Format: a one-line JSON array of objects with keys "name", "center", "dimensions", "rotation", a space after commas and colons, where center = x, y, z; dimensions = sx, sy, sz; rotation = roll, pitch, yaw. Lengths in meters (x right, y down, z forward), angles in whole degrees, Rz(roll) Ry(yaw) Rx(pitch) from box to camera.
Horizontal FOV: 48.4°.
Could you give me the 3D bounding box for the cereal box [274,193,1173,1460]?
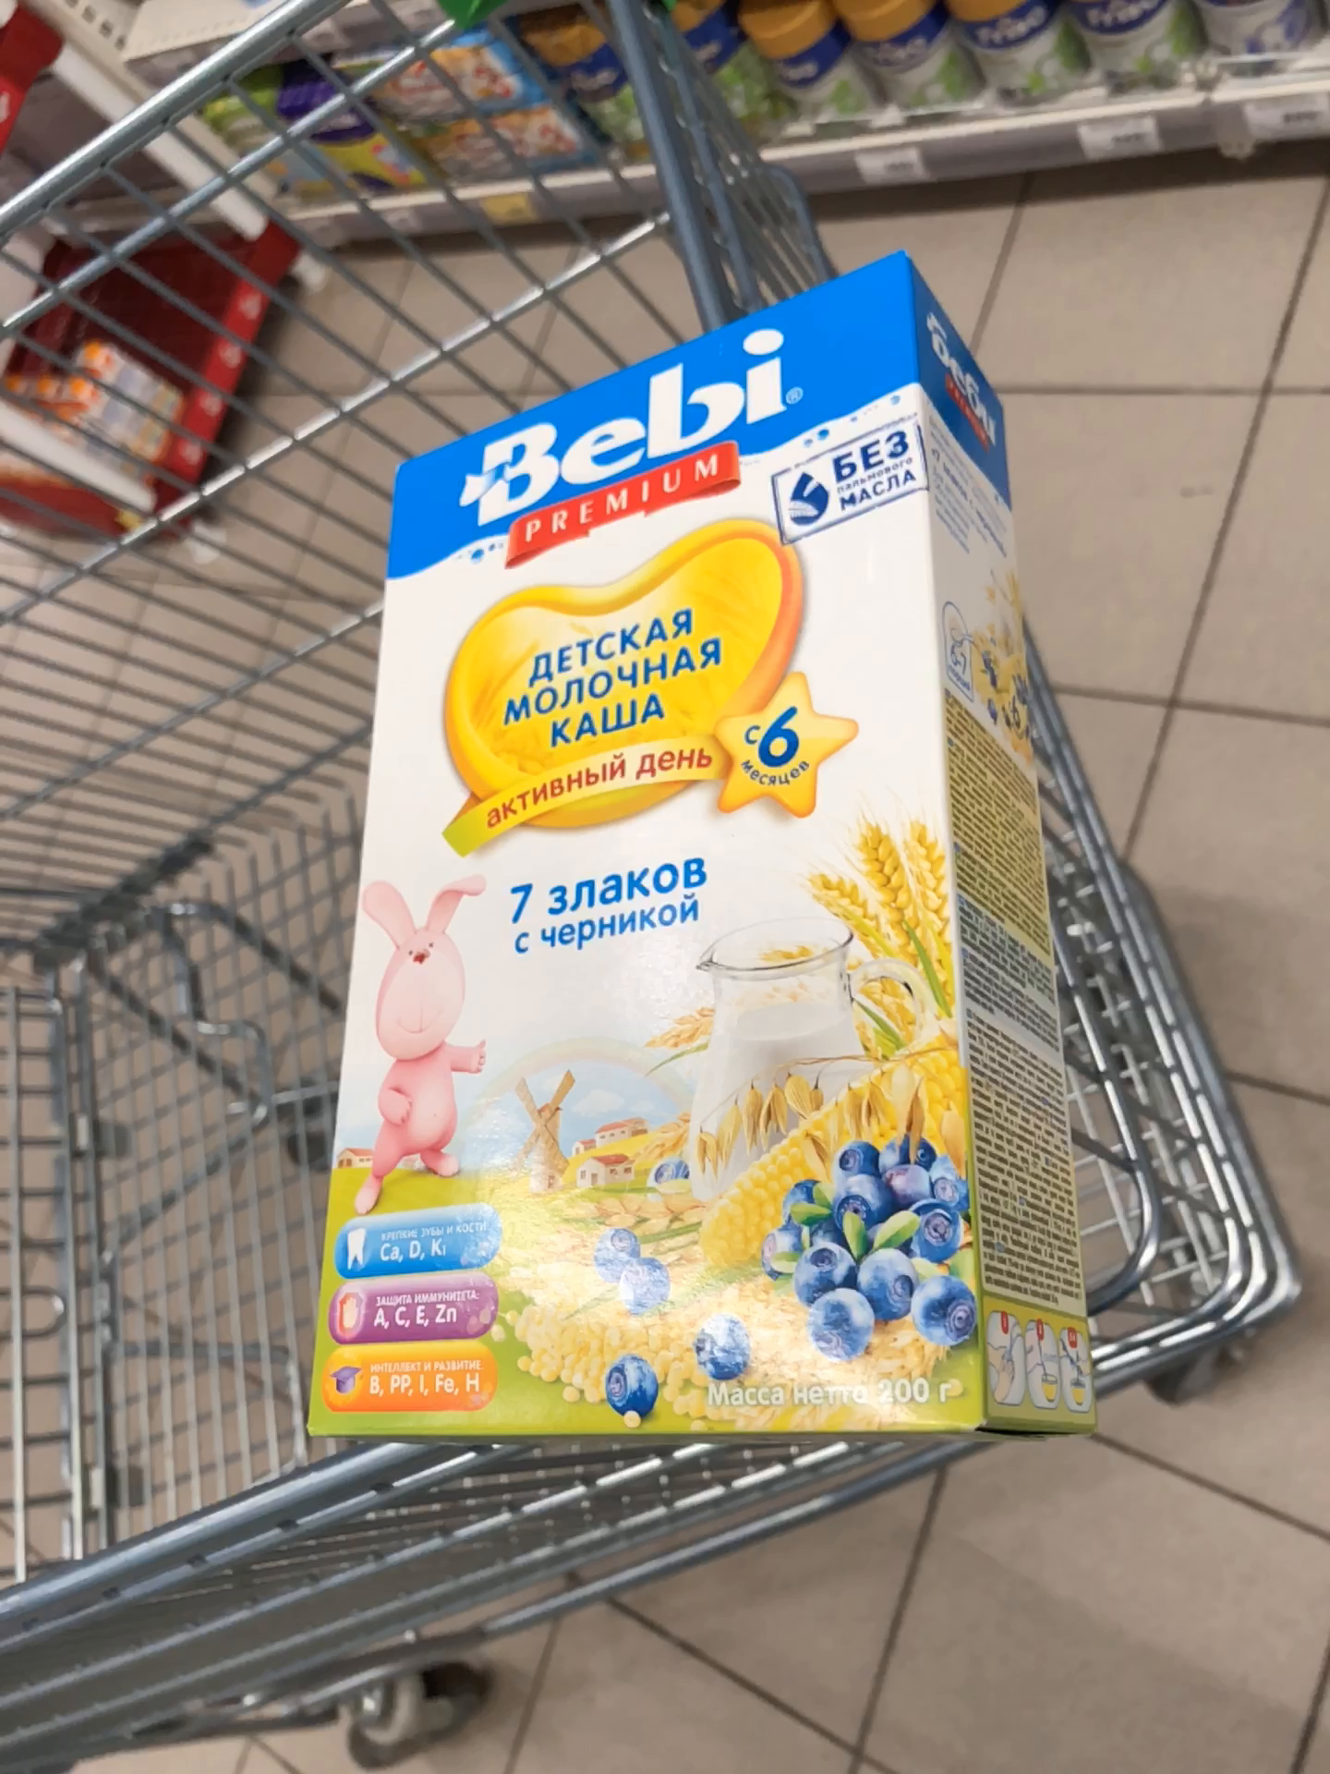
[{"name": "cereal box", "center": [0.005, -0.005, 0.280], "dimensions": [0.140, 0.050, 0.210], "rotation": [-13, 65, 29]}]
